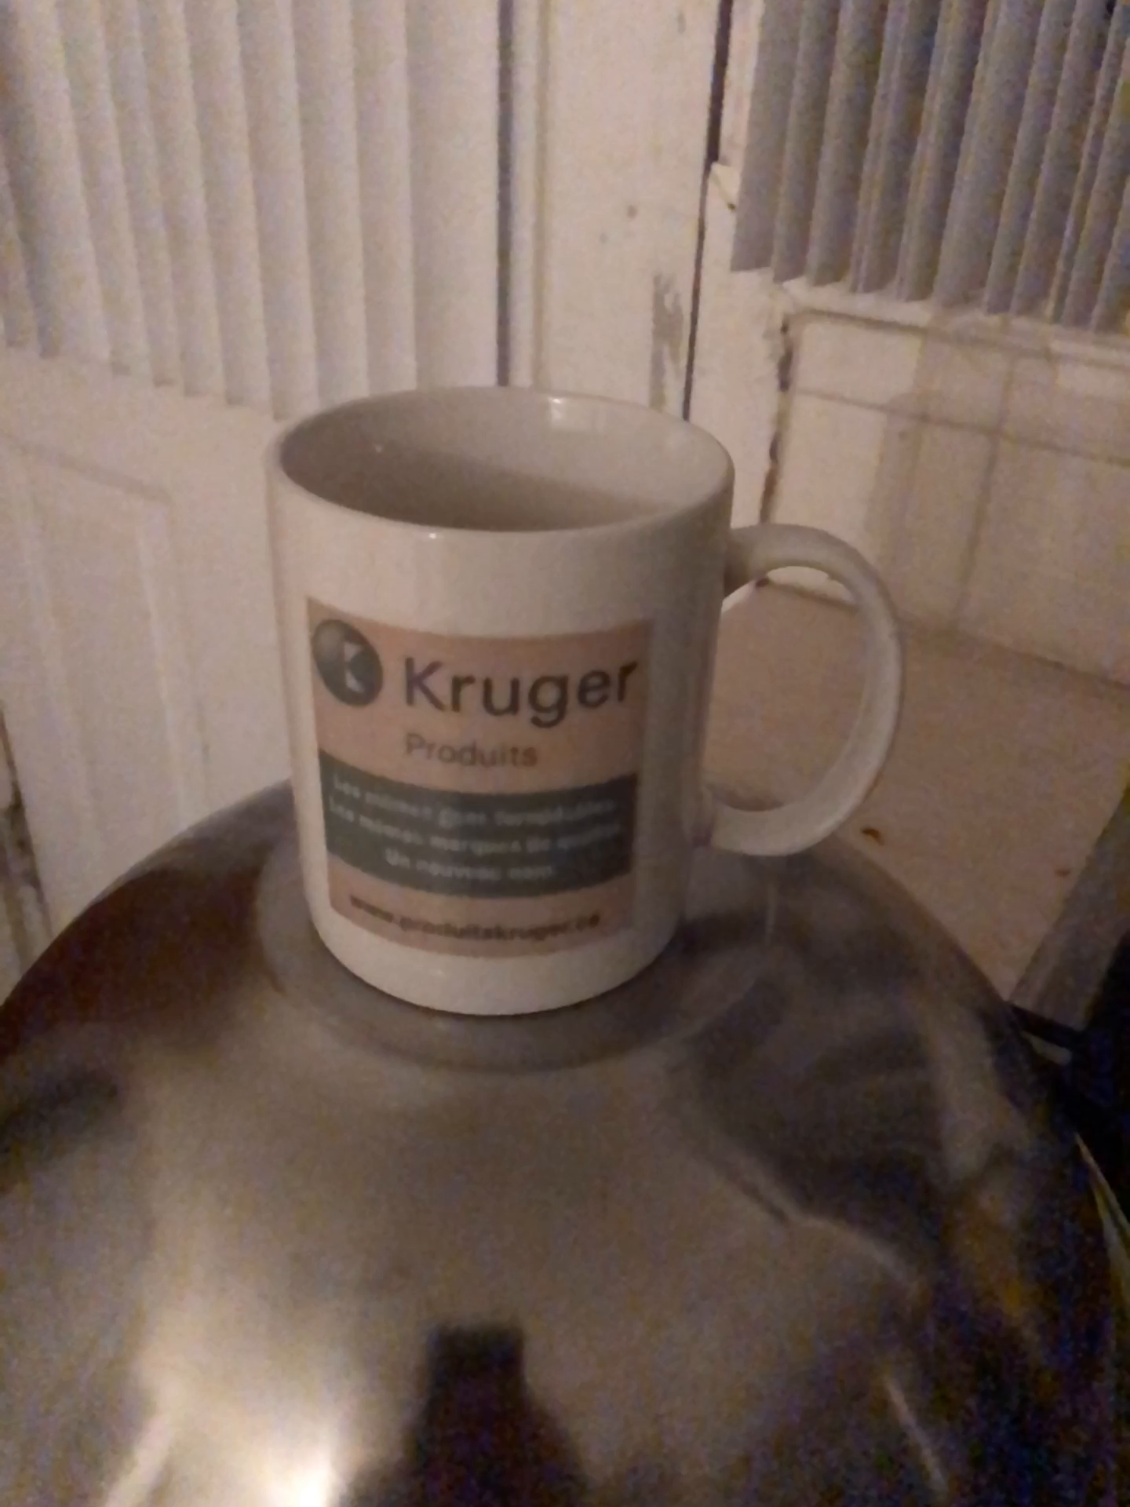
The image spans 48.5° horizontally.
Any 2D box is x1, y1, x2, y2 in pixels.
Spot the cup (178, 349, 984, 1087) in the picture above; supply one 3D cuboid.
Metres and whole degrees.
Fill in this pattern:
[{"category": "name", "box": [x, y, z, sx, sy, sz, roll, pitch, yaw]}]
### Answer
[{"category": "cup", "box": [0.003, -0.011, 0.253, 0.120, 0.109, 0.091, 4, 31, 2]}]
